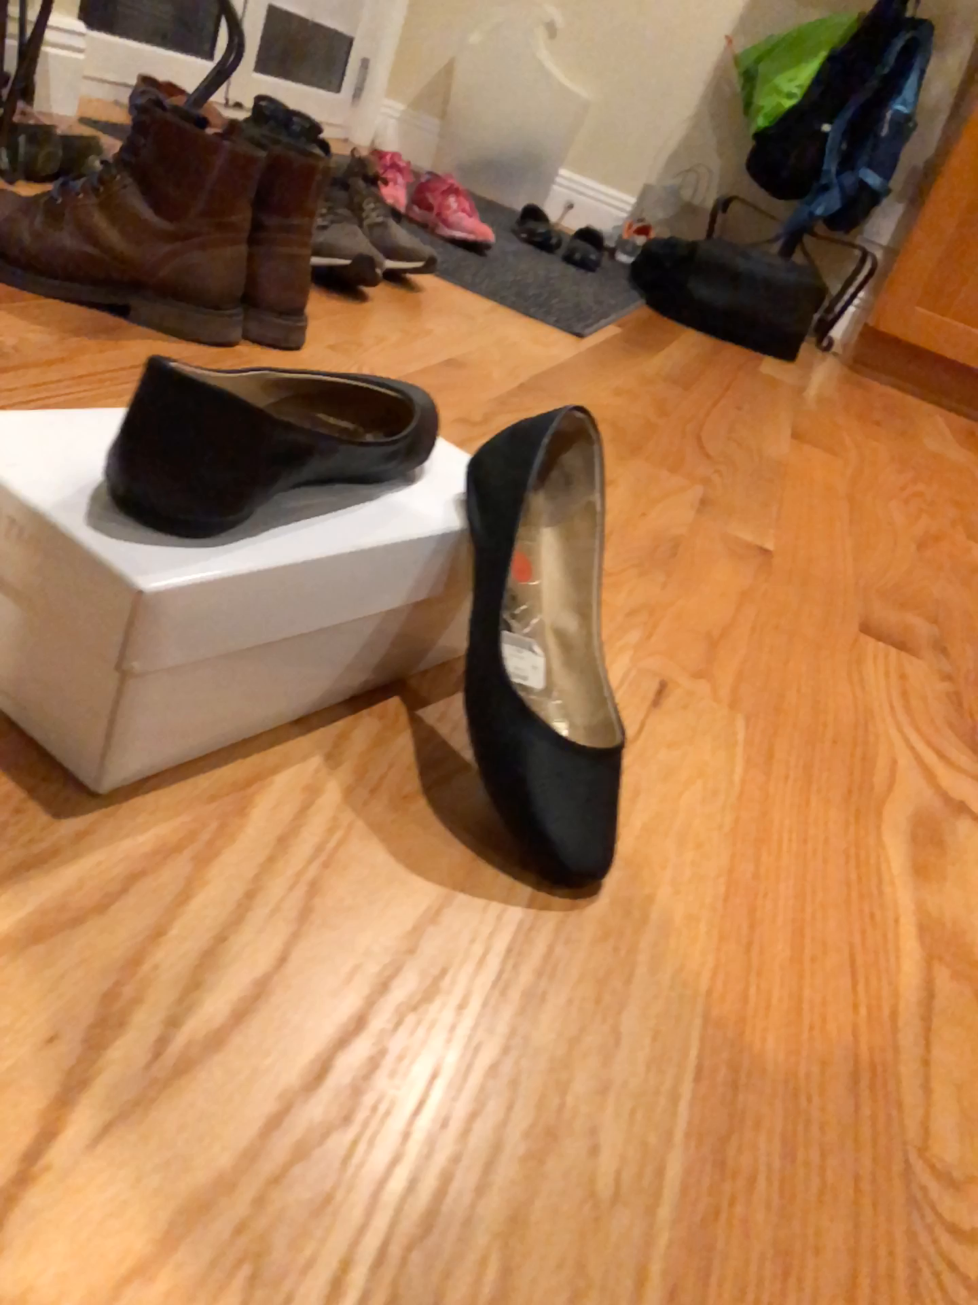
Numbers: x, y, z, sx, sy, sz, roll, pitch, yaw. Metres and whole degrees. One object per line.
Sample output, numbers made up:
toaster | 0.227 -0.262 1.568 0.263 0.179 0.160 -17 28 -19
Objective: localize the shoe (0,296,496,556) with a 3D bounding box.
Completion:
shoe | -0.088 -0.111 0.472 0.076 0.060 0.240 29 27 14

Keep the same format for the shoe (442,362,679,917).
shoe | 0.028 -0.007 0.498 0.076 0.060 0.240 20 58 -40
